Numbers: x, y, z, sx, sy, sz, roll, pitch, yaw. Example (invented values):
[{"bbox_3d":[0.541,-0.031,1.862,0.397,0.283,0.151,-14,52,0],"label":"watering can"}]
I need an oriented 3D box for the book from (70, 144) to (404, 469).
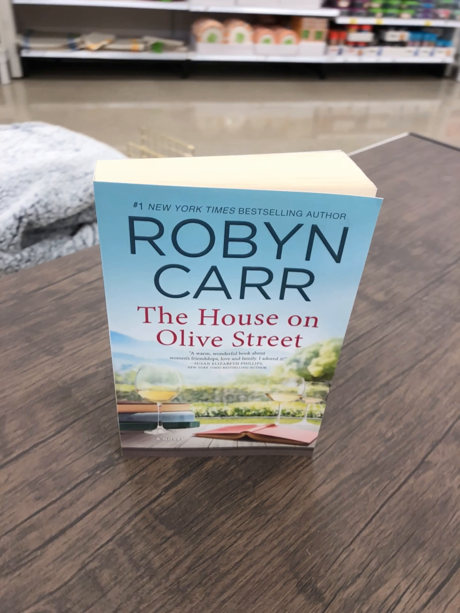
[{"bbox_3d":[-0.003,0.011,0.302,0.146,0.195,0.050,-1,38,-7],"label":"book"}]
